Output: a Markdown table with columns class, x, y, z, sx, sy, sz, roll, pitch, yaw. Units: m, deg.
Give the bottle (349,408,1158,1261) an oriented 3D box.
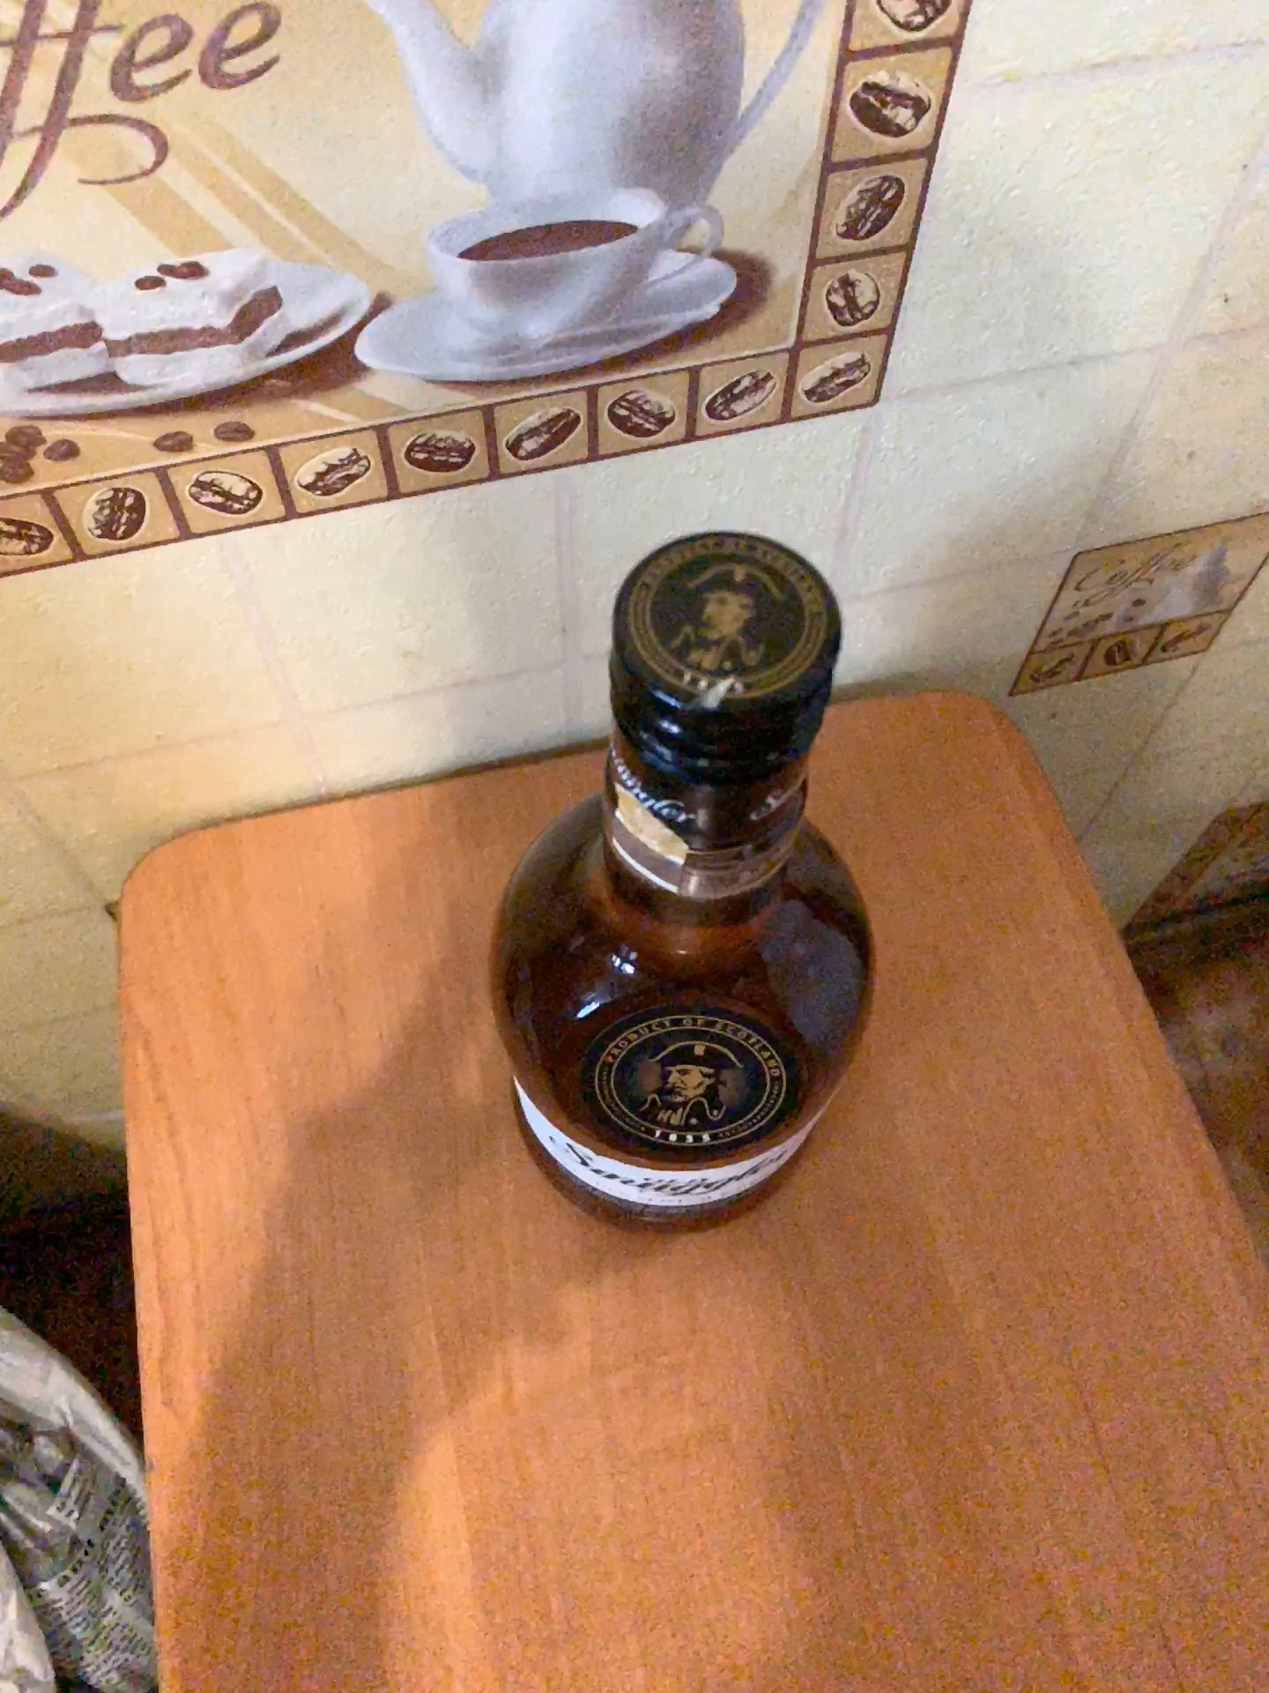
| class | x | y | z | sx | sy | sz | roll | pitch | yaw |
| --- | --- | --- | --- | --- | --- | --- | --- | --- | --- |
| bottle | 0.013 | 0.024 | 0.281 | 0.100 | 0.229 | 0.080 | 1 | 61 | -1 |
